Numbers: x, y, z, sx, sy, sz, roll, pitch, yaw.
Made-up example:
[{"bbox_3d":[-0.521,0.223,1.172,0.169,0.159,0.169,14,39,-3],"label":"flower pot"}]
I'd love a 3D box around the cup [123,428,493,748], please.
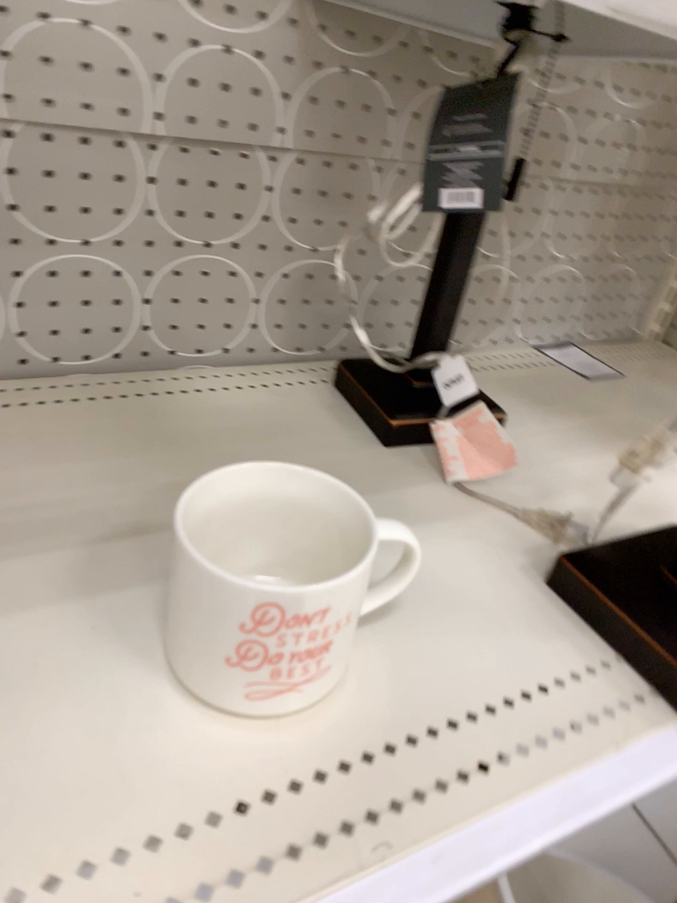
[{"bbox_3d":[-0.022,0.059,0.351,0.150,0.090,0.100,-7,37,-27],"label":"cup"}]
